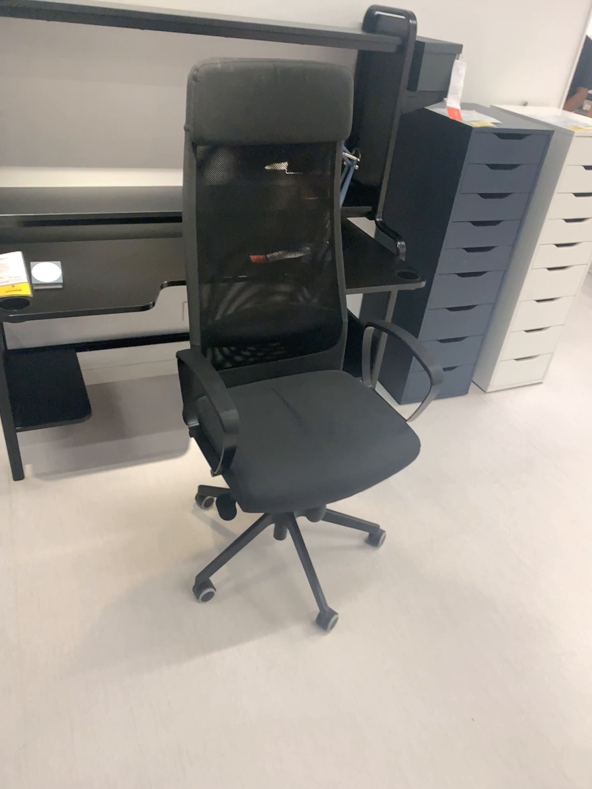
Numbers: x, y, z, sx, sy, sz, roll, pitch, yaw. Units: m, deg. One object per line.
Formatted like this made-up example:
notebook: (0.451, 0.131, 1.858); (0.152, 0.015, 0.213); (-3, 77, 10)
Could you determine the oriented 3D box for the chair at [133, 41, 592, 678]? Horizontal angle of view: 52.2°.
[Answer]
chair: (0.037, -0.091, 1.490); (0.640, 1.245, 0.713); (-11, 37, -26)
